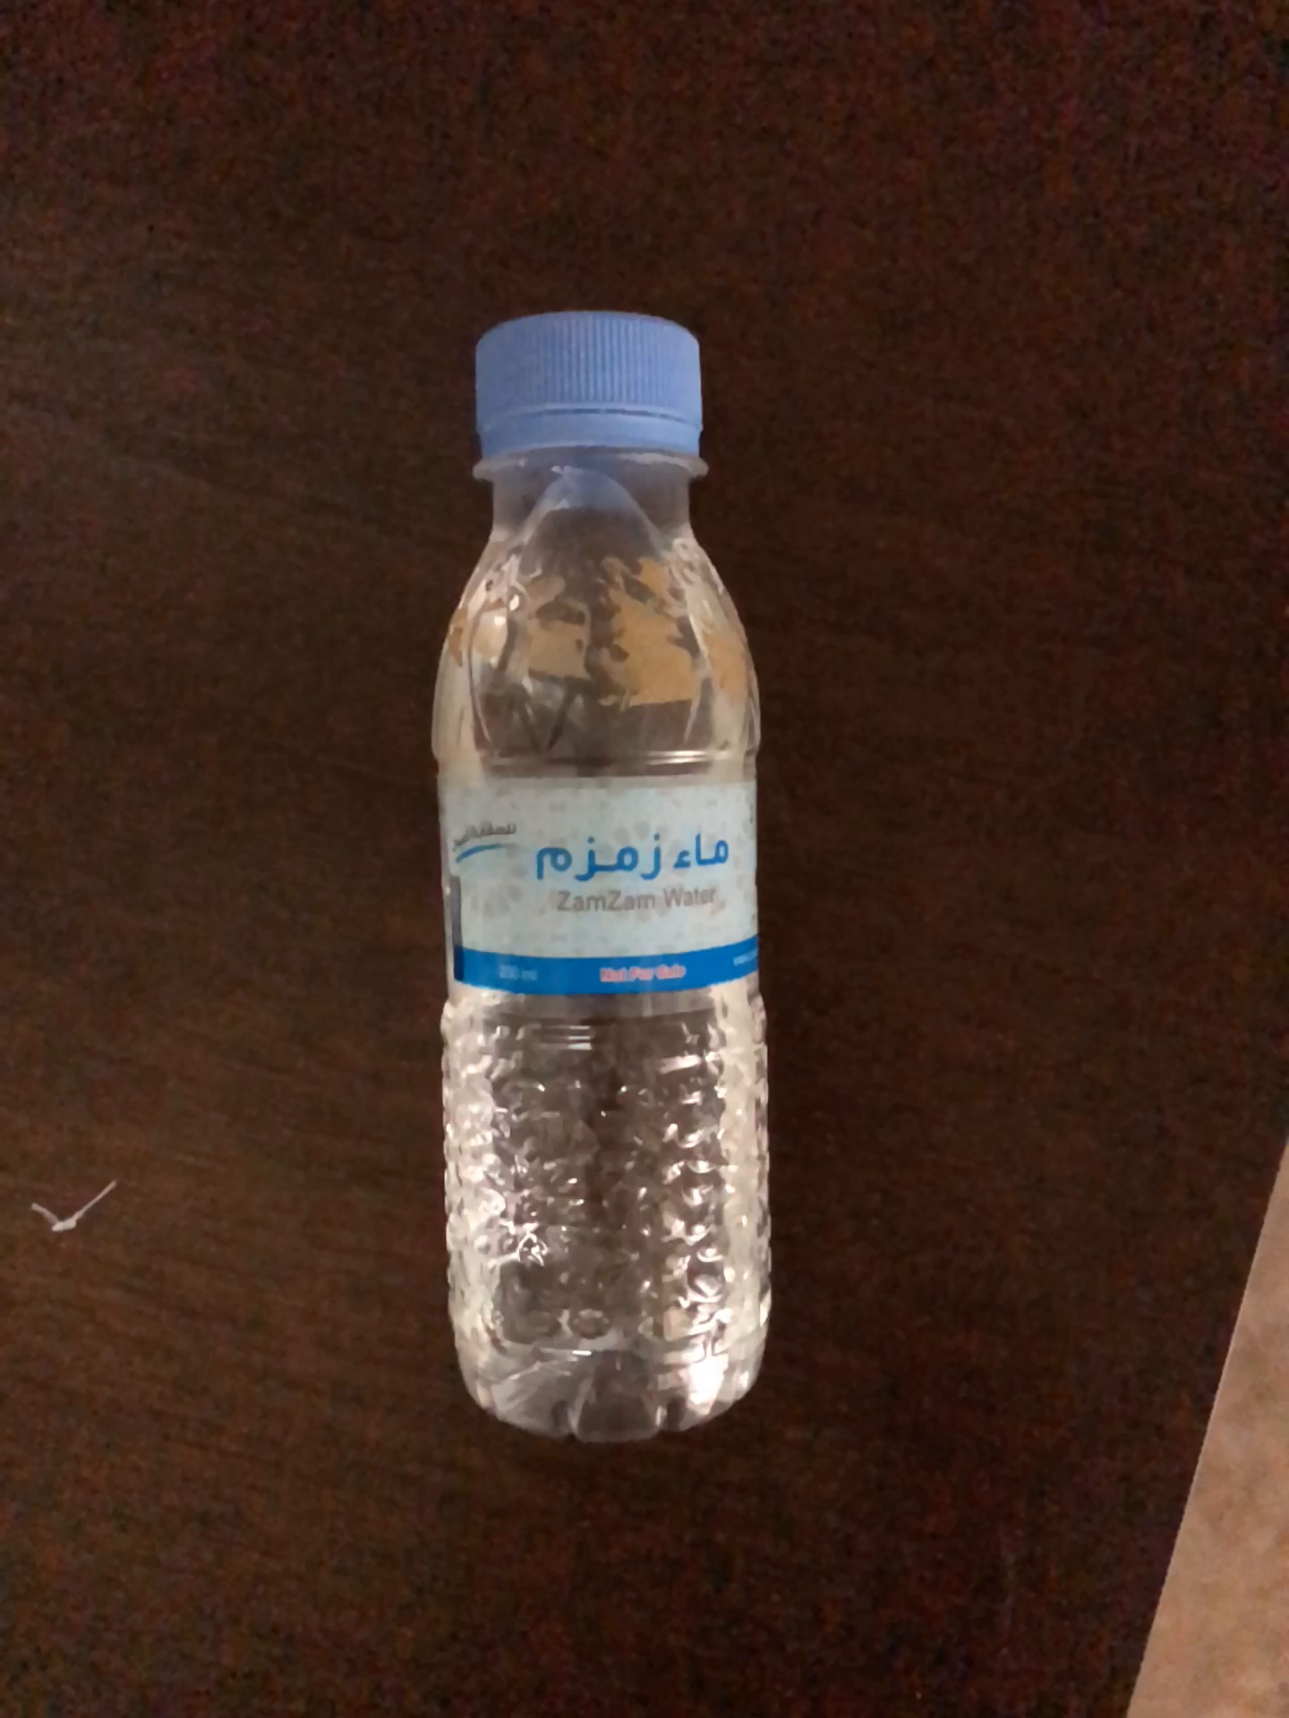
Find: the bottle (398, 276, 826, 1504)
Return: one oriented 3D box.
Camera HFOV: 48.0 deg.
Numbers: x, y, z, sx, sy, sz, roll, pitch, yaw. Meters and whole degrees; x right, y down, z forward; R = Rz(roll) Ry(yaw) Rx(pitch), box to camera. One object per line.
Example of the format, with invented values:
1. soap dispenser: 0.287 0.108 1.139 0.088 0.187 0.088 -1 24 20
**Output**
1. bottle: -0.006 0.004 0.215 0.050 0.050 0.160 -3 96 -7
